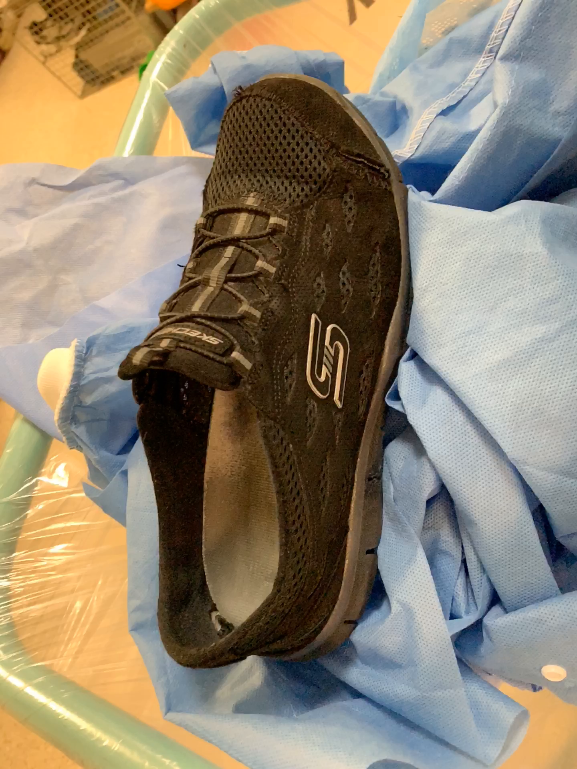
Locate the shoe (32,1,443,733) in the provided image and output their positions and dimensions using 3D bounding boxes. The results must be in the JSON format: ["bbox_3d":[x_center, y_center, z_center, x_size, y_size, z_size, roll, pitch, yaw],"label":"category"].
[{"bbox_3d":[-0.007,-0.012,0.258,0.088,0.094,0.254,3,74,33],"label":"shoe"}]
